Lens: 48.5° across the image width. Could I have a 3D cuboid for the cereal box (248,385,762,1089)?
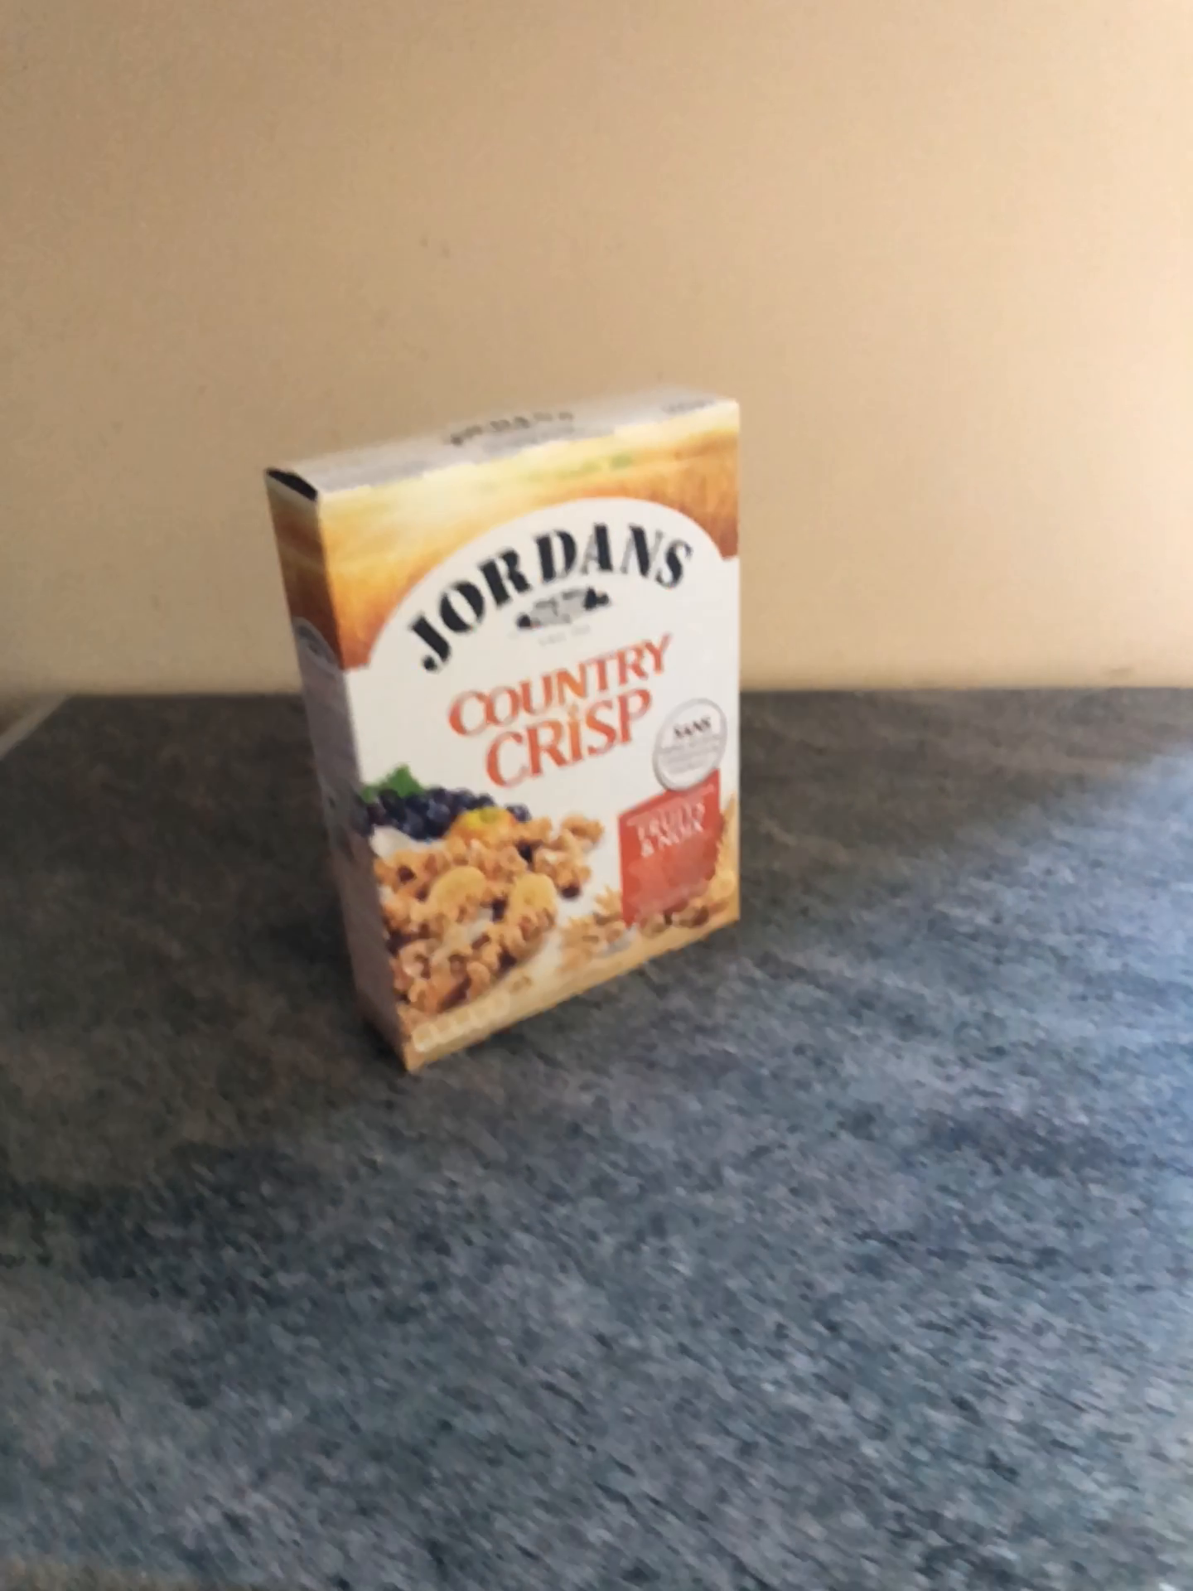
[{"bbox_3d":[-0.026,-0.027,0.558,0.191,0.249,0.060,-20,33,-30],"label":"cereal box"}]
